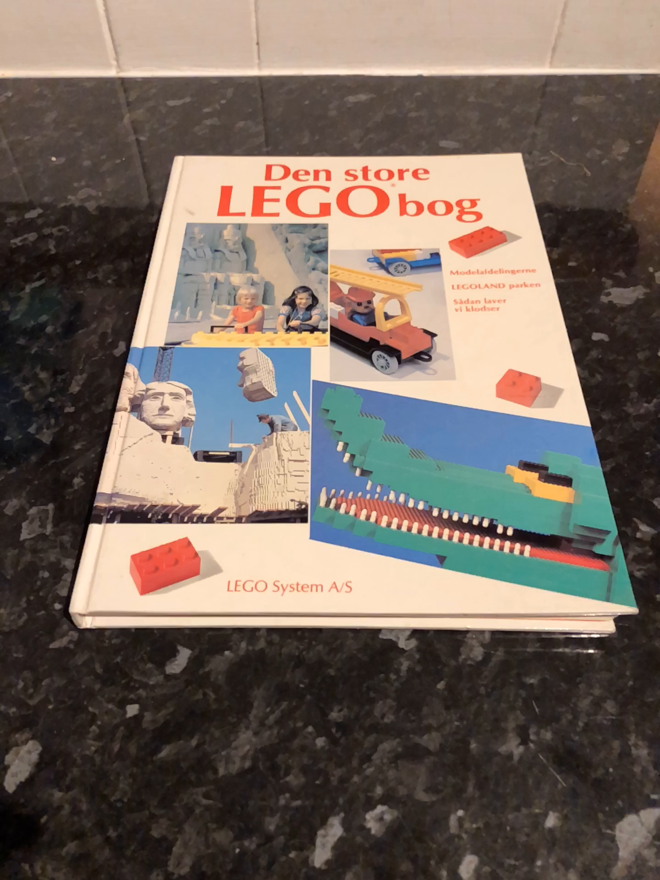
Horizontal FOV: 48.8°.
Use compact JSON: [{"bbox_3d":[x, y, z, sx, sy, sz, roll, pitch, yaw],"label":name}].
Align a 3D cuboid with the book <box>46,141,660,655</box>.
[{"bbox_3d":[0.009,-0.046,0.347,0.210,0.030,0.291,0,54,0],"label":"book"}]
